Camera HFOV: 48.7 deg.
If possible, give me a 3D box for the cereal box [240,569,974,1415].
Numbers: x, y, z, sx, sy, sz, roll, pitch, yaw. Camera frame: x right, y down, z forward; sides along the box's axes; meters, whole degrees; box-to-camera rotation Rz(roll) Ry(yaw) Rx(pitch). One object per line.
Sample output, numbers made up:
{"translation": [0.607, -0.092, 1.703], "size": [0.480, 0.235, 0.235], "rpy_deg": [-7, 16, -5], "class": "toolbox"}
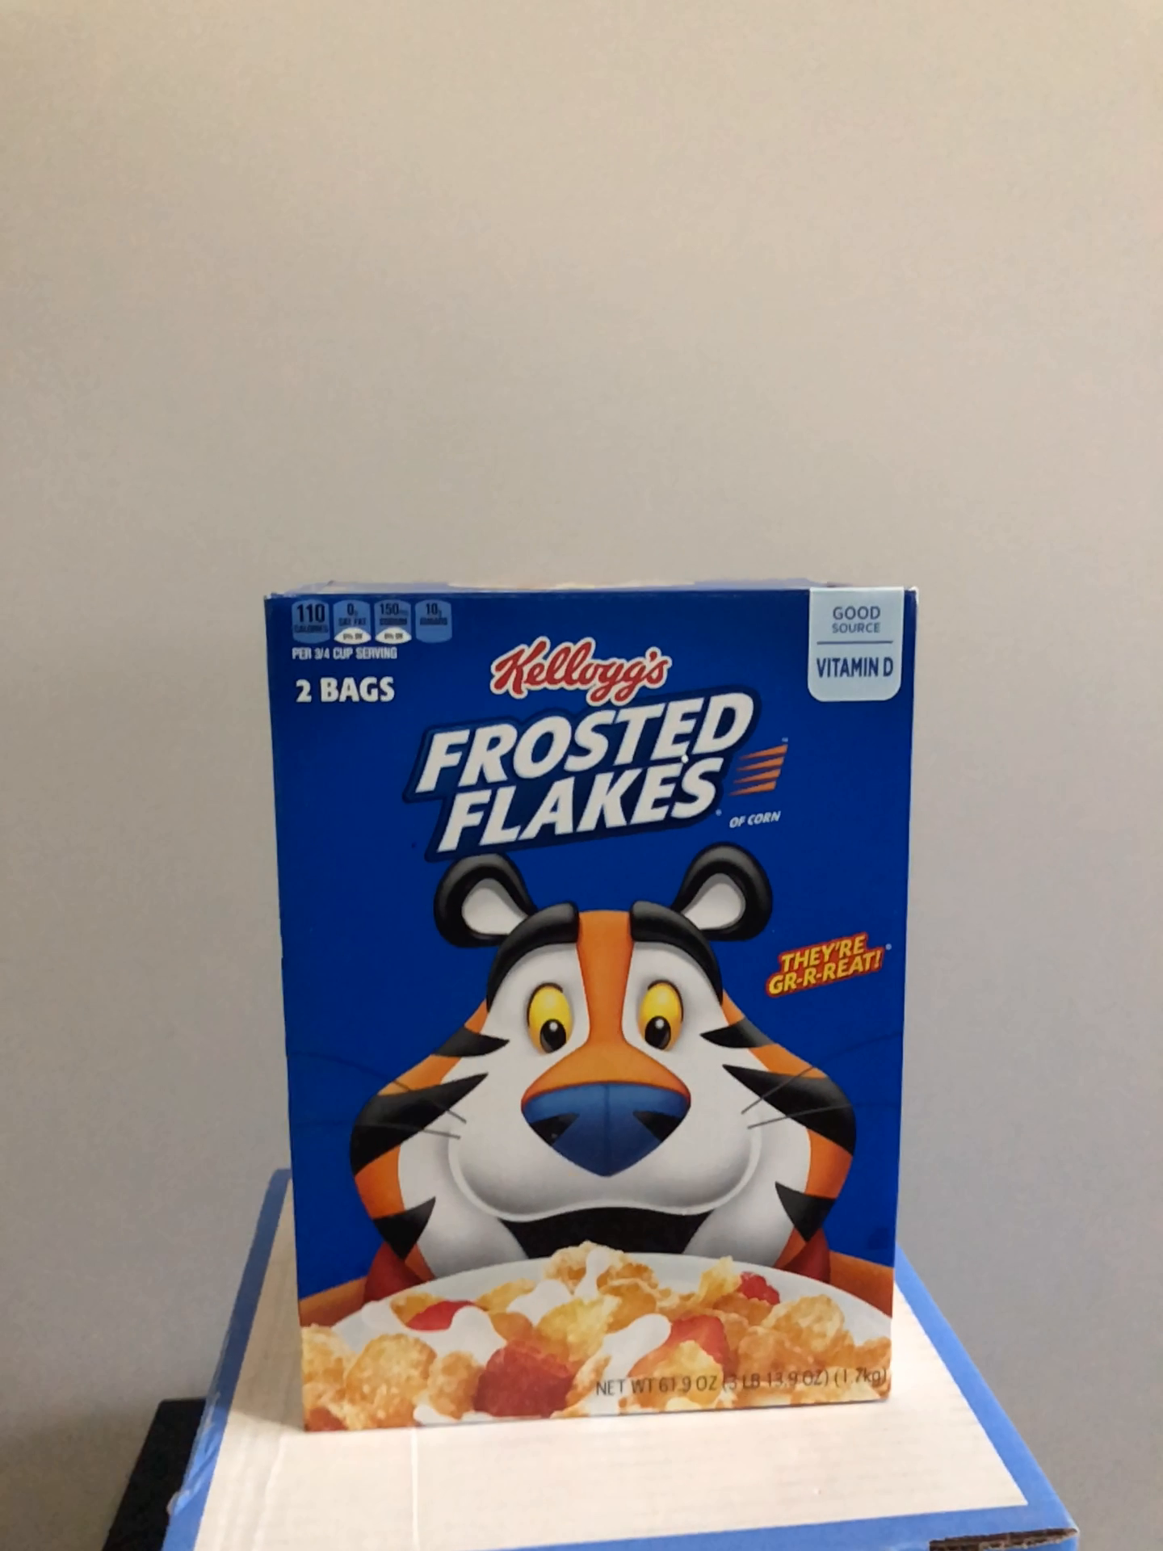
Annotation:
{"translation": [0.008, 0.074, 0.564], "size": [0.260, 0.319, 0.170], "rpy_deg": [-1, 9, -3], "class": "cereal box"}
